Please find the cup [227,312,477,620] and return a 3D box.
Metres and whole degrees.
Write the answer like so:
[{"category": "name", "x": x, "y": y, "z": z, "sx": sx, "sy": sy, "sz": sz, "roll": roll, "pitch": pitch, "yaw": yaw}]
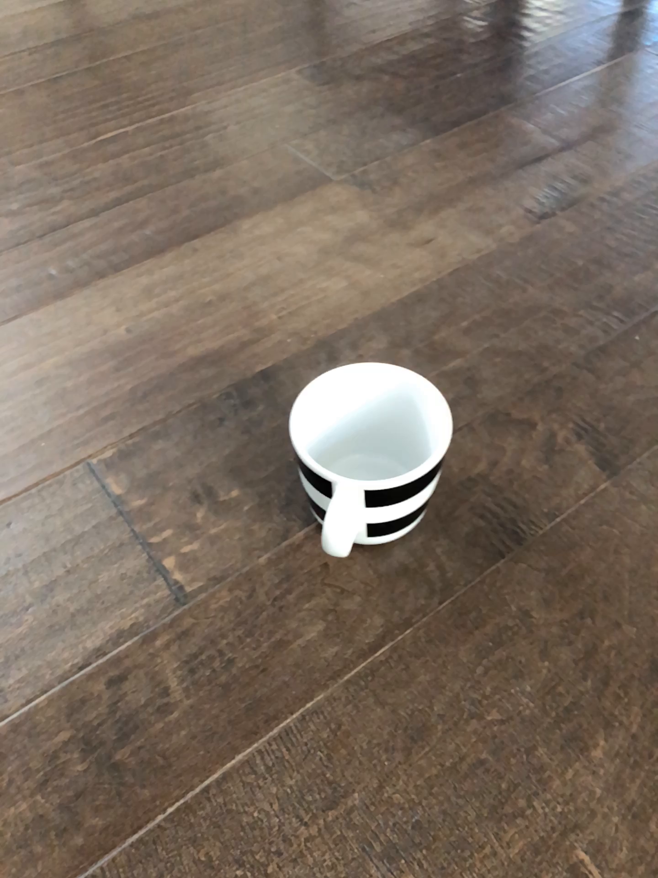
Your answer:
[{"category": "cup", "x": 0.017, "y": 0.011, "z": 0.380, "sx": 0.090, "sy": 0.079, "sz": 0.121, "roll": 12, "pitch": 51, "yaw": 13}]
